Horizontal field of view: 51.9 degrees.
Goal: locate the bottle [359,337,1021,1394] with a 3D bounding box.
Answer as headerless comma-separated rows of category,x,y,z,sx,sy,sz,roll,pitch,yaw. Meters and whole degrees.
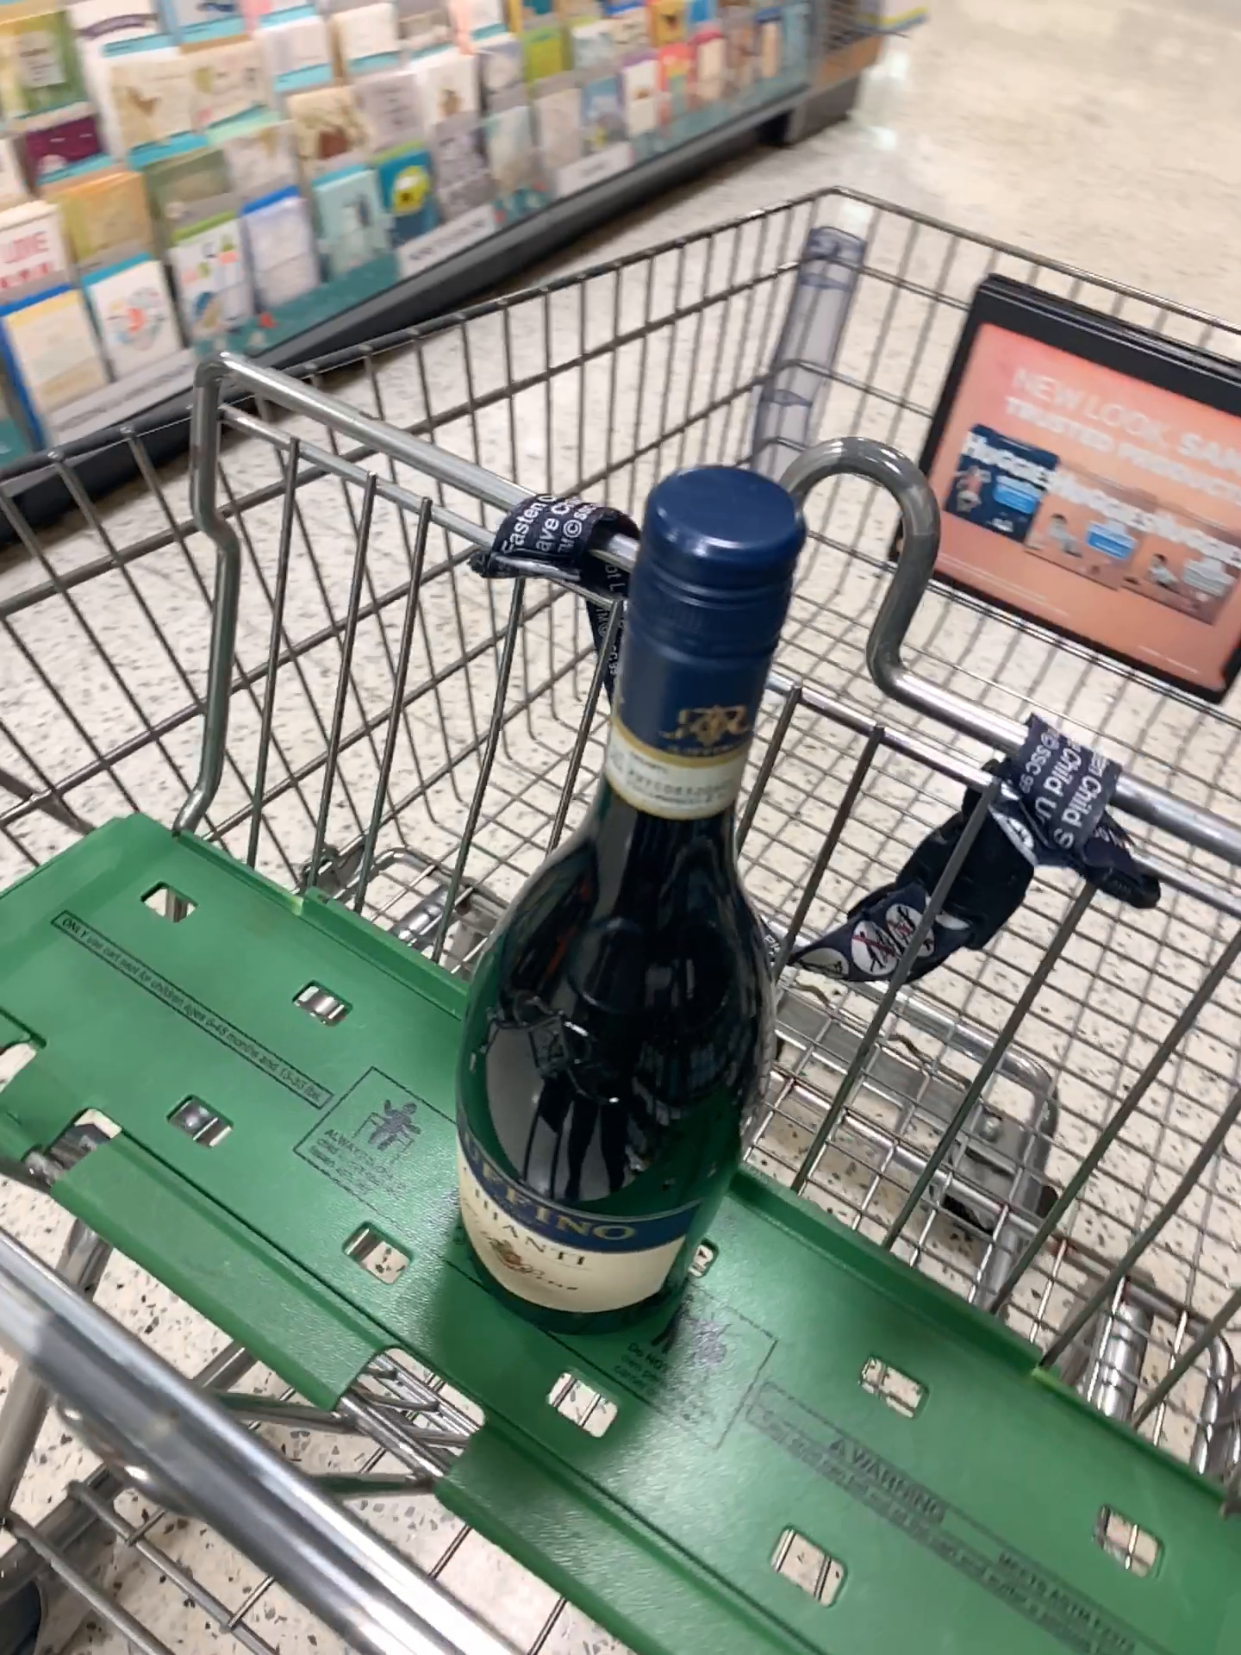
bottle,0.000,0.032,0.330,0.090,0.267,0.091,5,46,-5
